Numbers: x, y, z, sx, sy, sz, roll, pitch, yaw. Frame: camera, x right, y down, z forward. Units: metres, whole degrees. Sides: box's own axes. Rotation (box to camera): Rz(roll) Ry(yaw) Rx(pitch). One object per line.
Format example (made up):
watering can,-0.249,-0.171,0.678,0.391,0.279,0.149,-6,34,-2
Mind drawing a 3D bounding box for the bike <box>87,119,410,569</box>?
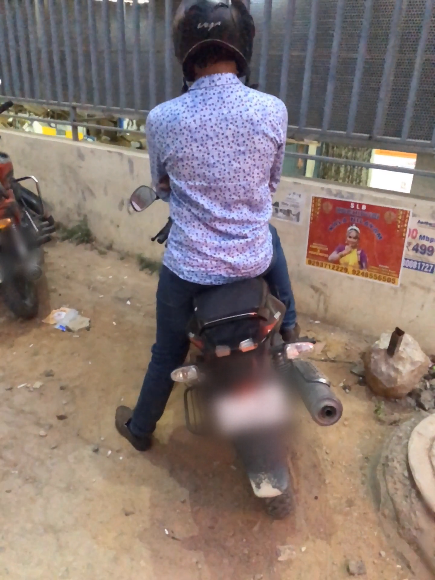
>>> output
bike,-0.075,-0.033,2.123,0.746,1.144,1.810,0,25,-8
